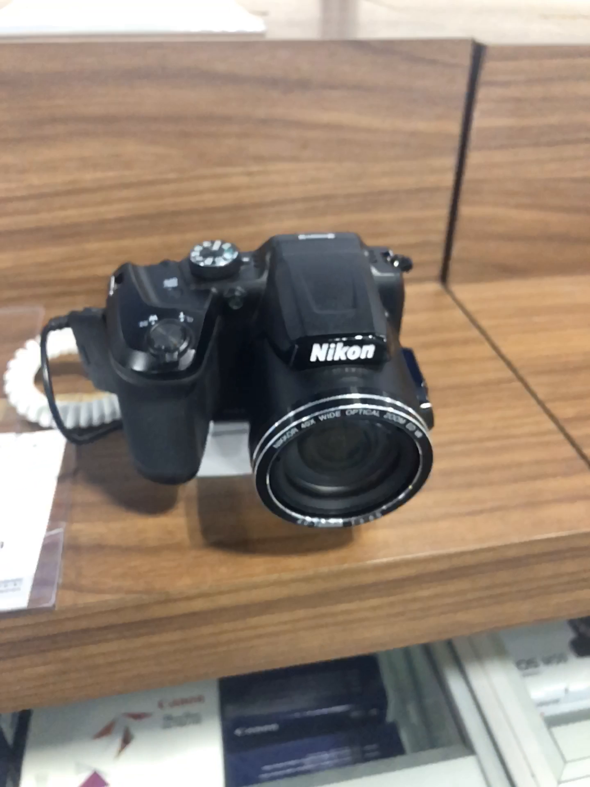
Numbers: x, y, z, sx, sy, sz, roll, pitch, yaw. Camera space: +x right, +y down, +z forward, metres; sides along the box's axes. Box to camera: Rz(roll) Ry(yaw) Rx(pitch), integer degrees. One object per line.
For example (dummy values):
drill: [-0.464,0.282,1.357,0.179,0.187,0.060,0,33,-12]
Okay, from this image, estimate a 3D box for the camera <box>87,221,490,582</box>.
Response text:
camera: [-0.008,-0.004,0.239,0.110,0.079,0.096,-5,34,-9]
